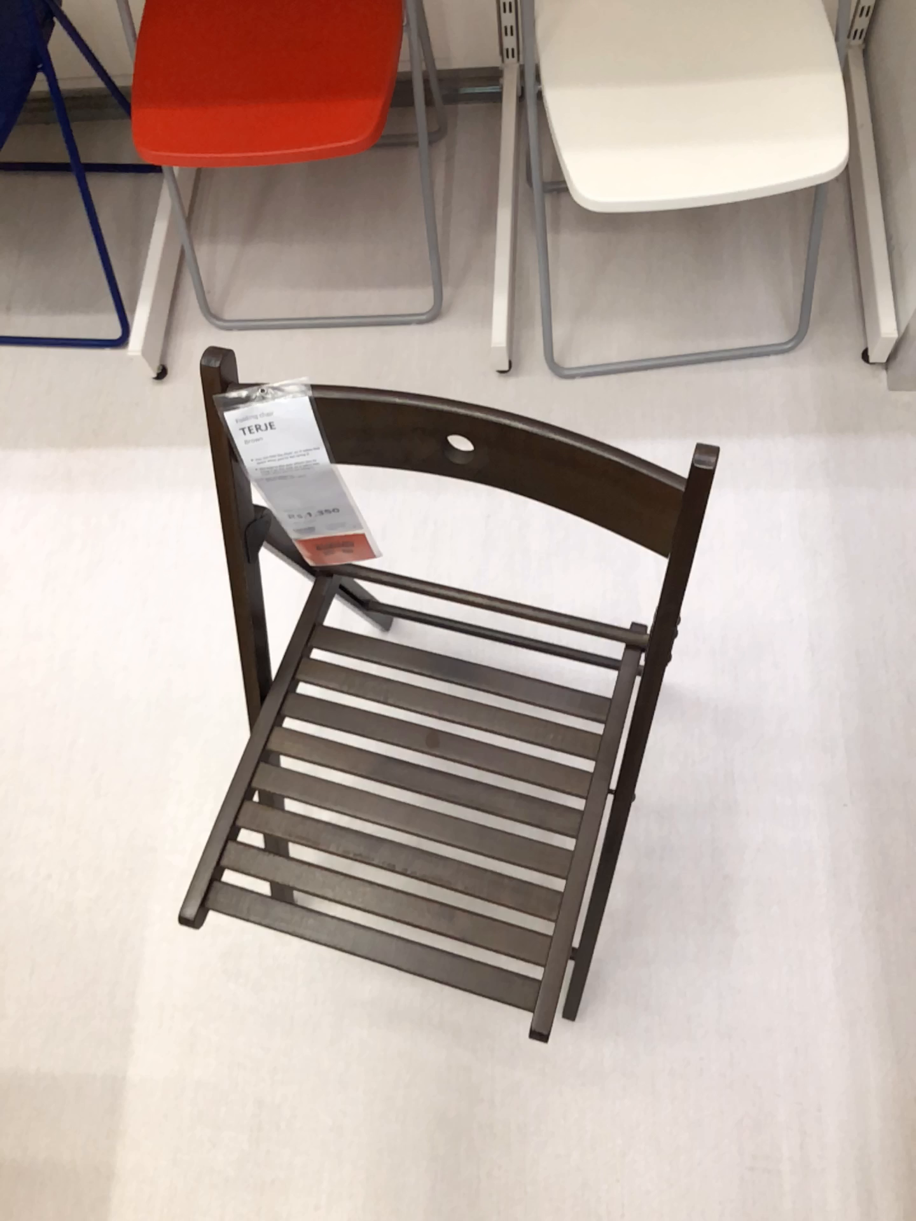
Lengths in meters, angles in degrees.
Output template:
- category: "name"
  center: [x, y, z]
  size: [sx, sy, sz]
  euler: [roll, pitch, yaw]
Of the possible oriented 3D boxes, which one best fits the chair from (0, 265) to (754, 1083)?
- category: "chair"
  center: [-0.031, 0.130, 1.072]
  size: [0.460, 0.778, 0.501]
  euler: [13, 72, 11]
